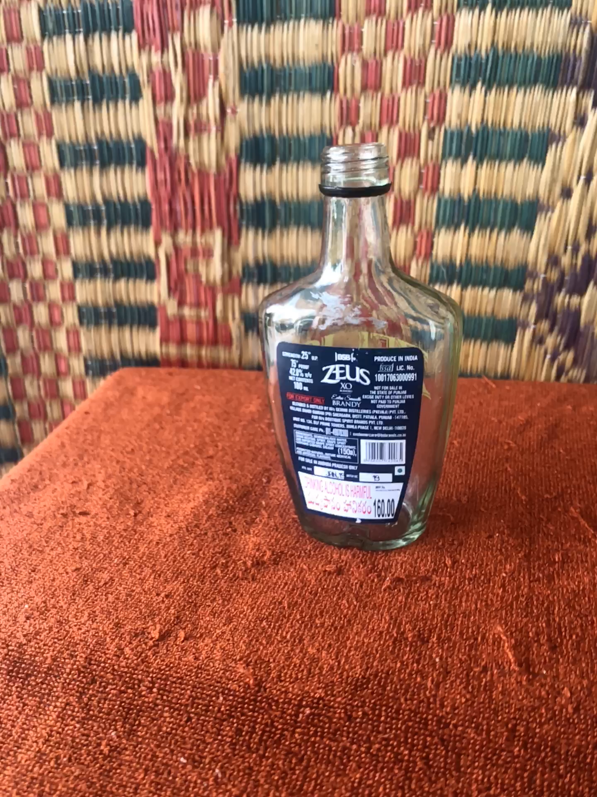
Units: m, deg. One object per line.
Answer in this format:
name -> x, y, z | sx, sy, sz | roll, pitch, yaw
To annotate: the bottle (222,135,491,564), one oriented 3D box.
bottle -> 0.023, -0.015, 0.248 | 0.080, 0.149, 0.040 | 4, 28, 13
